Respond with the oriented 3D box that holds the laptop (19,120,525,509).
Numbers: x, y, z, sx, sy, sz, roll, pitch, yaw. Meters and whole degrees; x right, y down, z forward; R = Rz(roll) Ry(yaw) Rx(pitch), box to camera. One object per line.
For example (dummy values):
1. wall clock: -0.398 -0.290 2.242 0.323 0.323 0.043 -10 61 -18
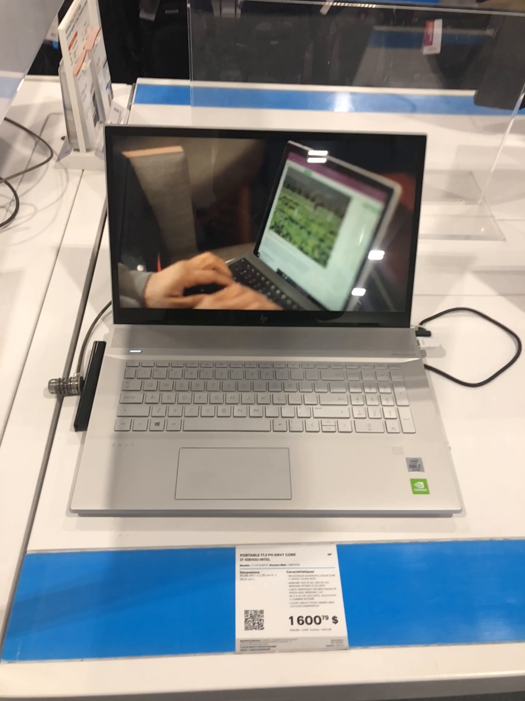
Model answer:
1. laptop: 0.005 -0.057 0.643 0.390 0.199 0.399 1 47 -4
